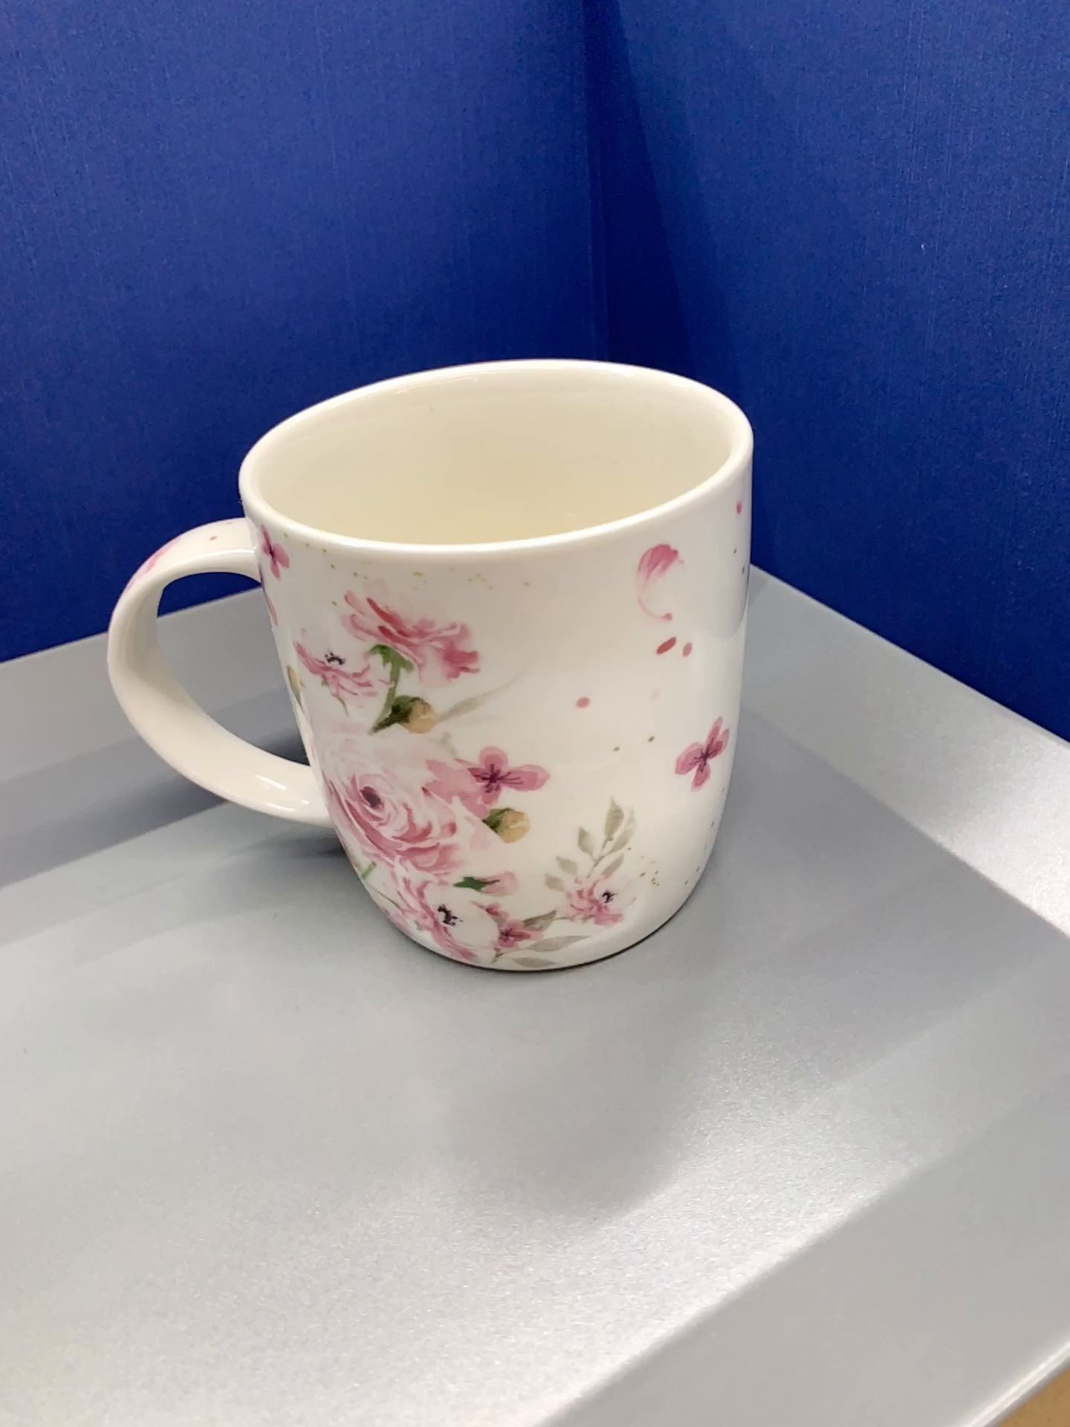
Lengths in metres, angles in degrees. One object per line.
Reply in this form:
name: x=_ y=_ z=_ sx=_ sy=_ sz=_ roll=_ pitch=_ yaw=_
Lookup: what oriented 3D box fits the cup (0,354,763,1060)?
cup: x=-0.019 y=-0.008 z=0.199 sx=0.110 sy=0.087 sz=0.085 roll=3 pitch=32 yaw=12
